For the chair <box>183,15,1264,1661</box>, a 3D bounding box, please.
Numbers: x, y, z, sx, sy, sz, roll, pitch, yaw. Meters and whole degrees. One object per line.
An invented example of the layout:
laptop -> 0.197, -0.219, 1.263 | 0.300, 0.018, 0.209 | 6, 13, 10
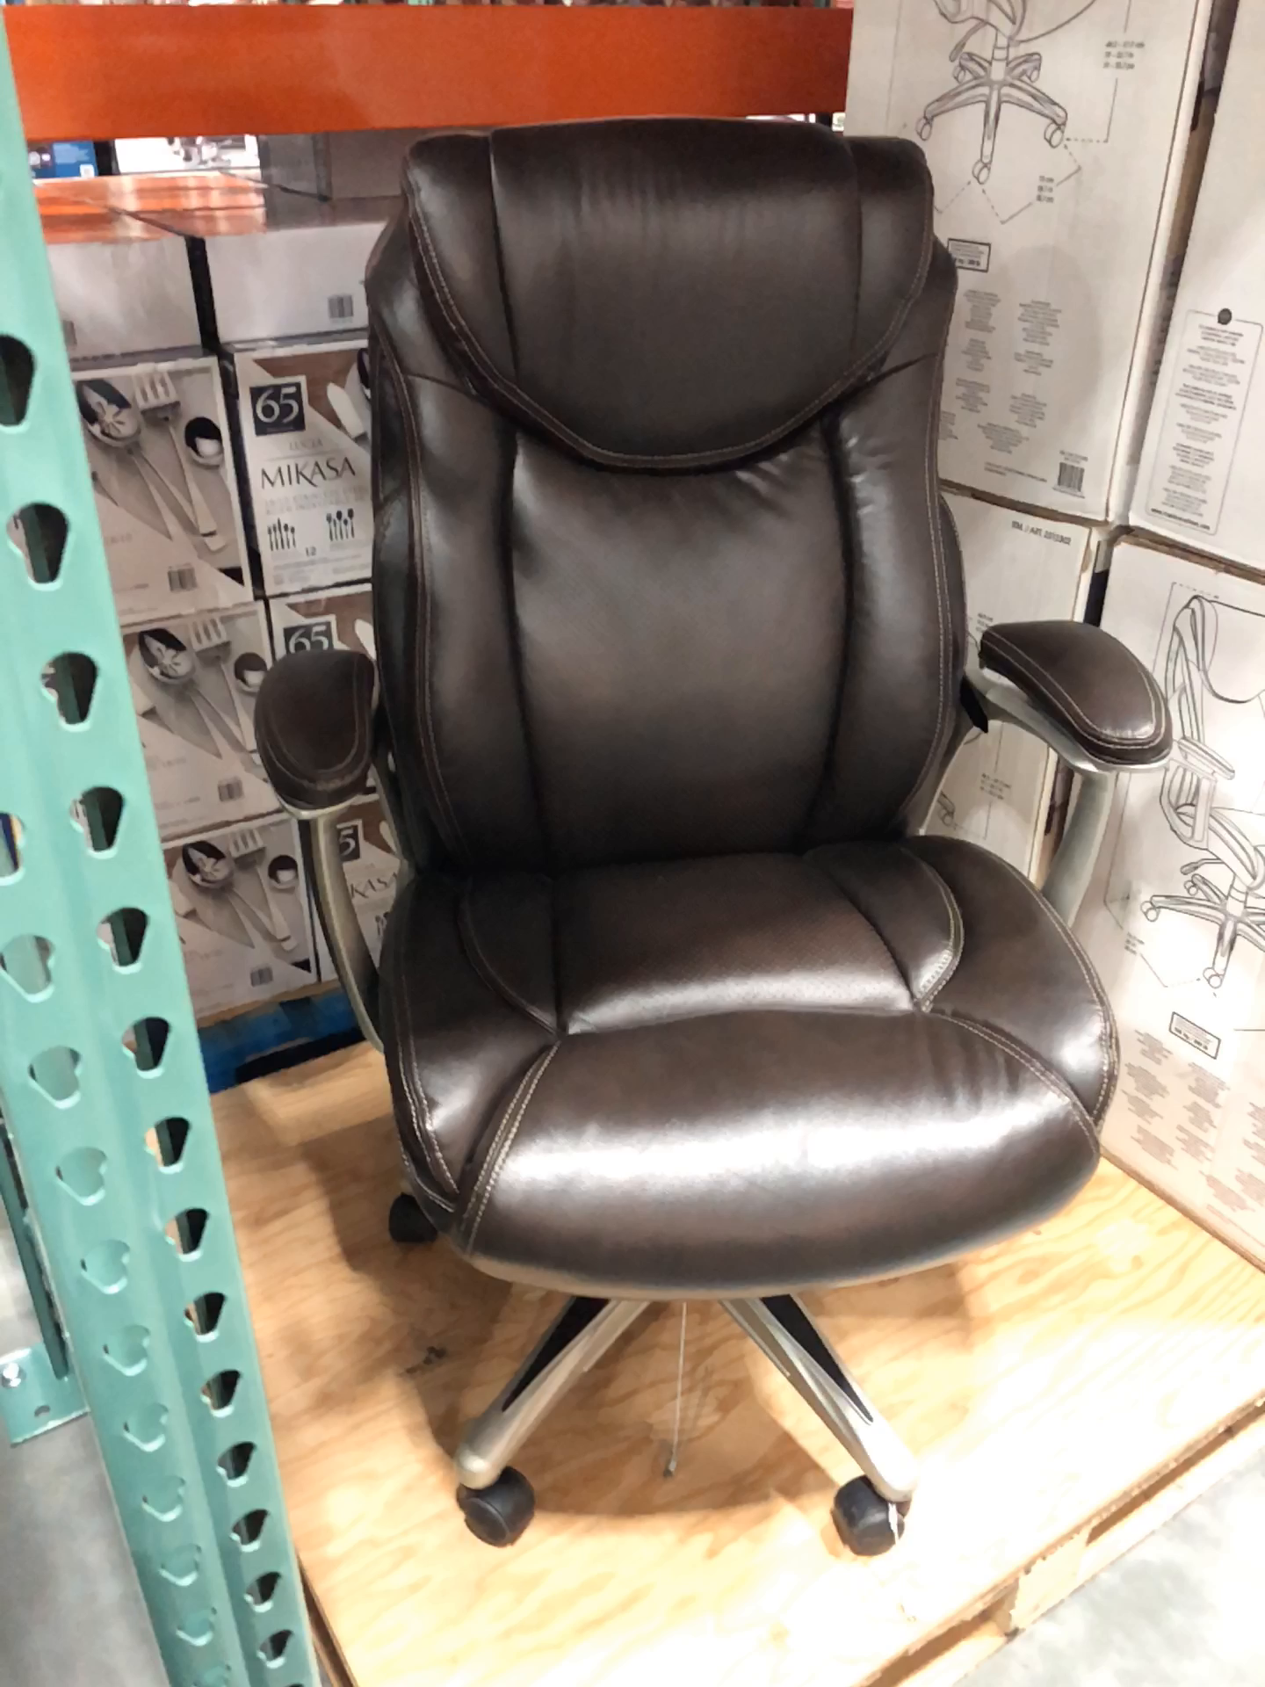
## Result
chair -> 0.054, -0.059, 1.186 | 0.660, 1.095, 0.723 | -7, 30, -13
